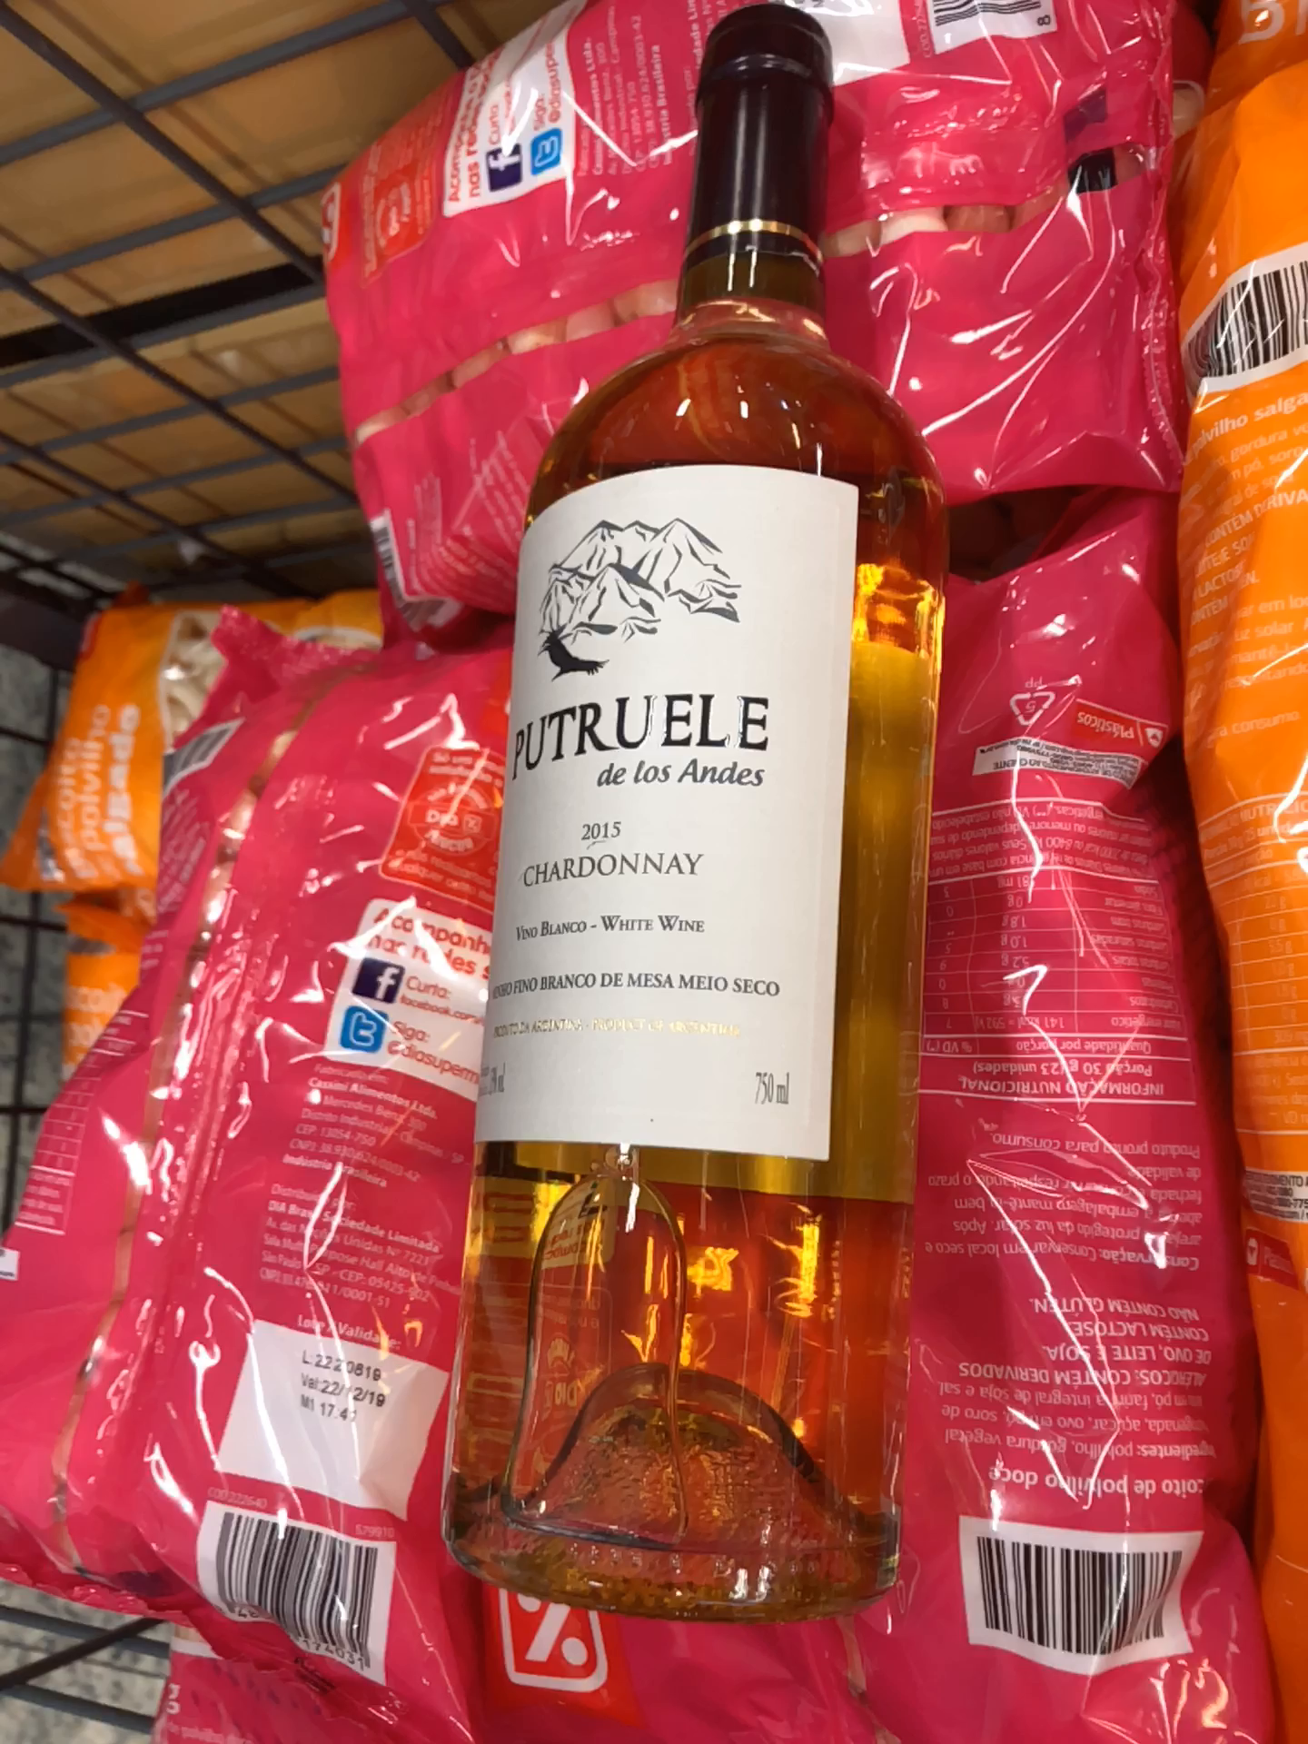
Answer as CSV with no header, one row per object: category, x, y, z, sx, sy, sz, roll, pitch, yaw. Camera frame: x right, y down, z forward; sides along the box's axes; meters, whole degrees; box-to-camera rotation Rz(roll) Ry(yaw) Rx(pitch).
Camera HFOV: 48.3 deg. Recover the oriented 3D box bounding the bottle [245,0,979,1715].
bottle,0.006,-0.035,0.256,0.080,0.070,0.300,-3,72,25
